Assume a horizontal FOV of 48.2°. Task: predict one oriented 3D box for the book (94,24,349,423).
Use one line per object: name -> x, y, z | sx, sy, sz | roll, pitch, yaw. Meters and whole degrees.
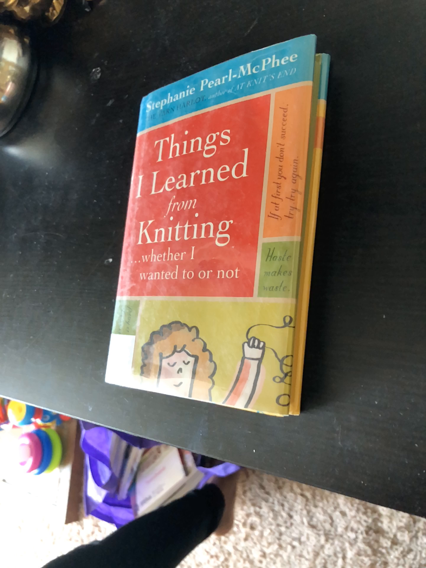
book -> 0.000, -0.027, 0.237 | 0.118, 0.023, 0.166 | 0, 80, 37
